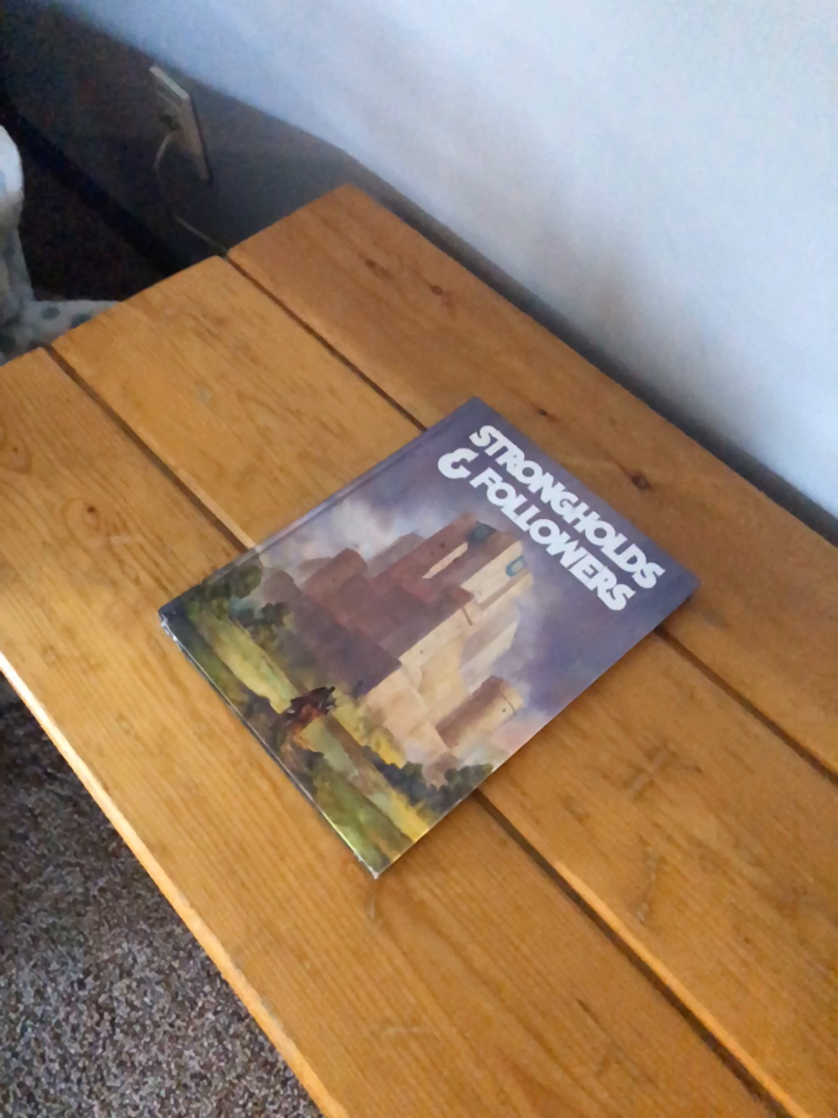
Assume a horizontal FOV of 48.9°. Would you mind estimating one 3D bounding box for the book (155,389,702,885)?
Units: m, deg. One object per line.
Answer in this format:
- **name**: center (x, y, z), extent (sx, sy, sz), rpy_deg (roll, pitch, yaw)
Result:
- **book**: center (0.009, 0.032, 0.610), extent (0.281, 0.042, 0.213), rpy_deg (-37, 66, -21)
